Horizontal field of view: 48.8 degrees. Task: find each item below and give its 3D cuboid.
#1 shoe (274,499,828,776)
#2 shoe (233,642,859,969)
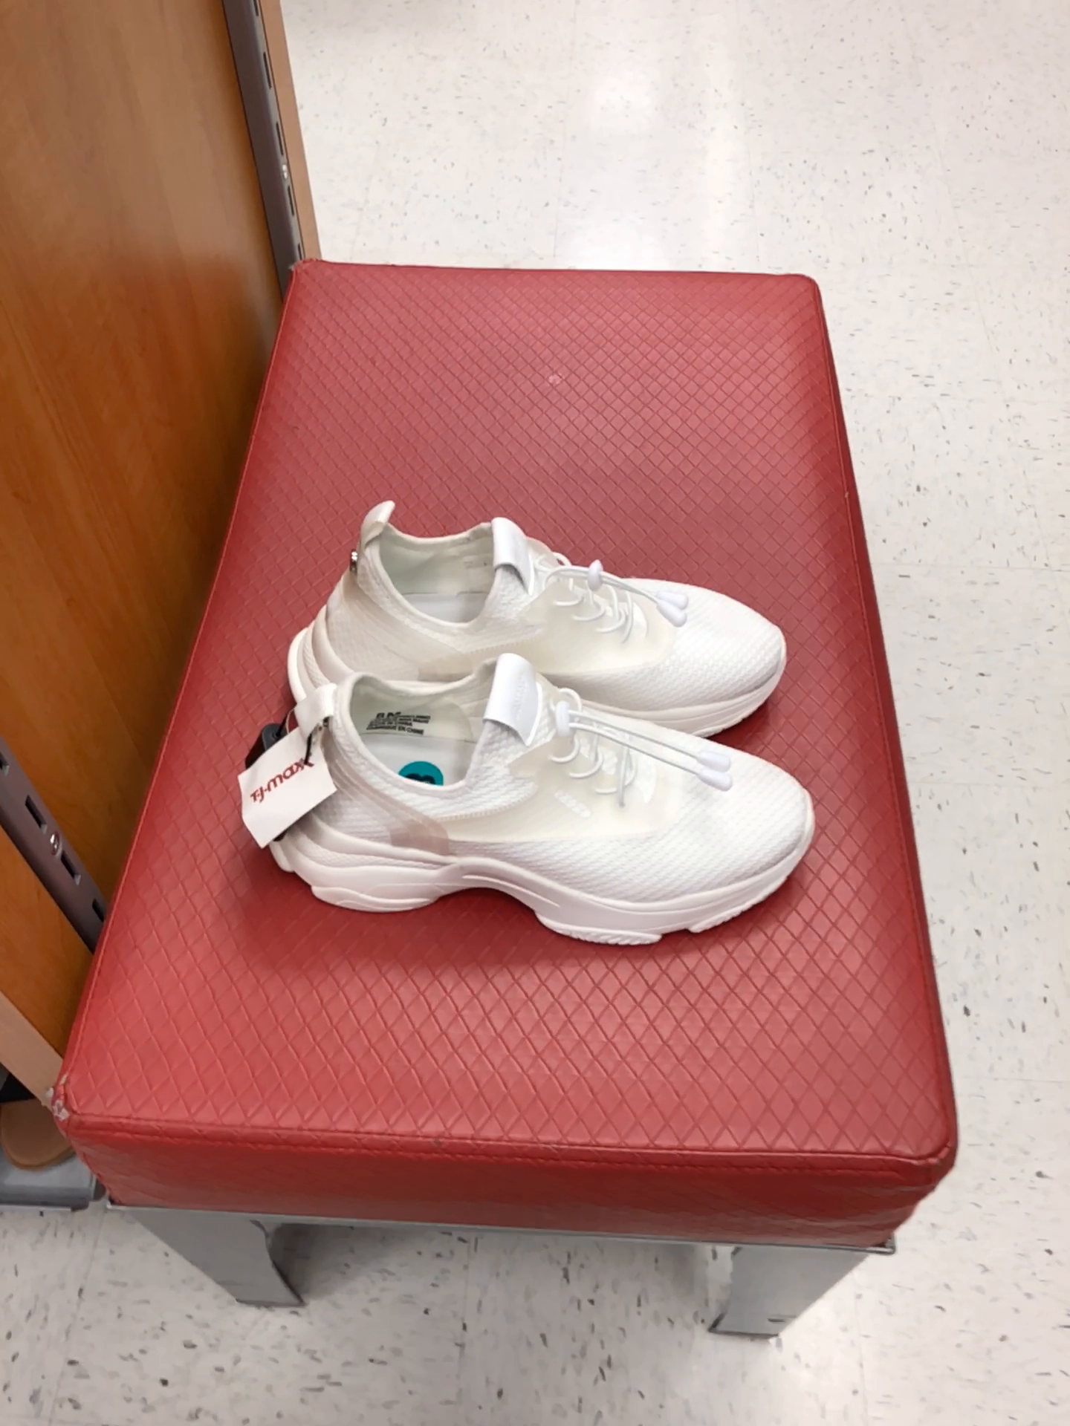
[{"bbox_3d":[0.009,-0.042,0.667,0.277,0.110,0.110,0,53,1],"label":"shoe"},{"bbox_3d":[0.007,0.048,0.600,0.277,0.110,0.112,2,53,2],"label":"shoe"}]
